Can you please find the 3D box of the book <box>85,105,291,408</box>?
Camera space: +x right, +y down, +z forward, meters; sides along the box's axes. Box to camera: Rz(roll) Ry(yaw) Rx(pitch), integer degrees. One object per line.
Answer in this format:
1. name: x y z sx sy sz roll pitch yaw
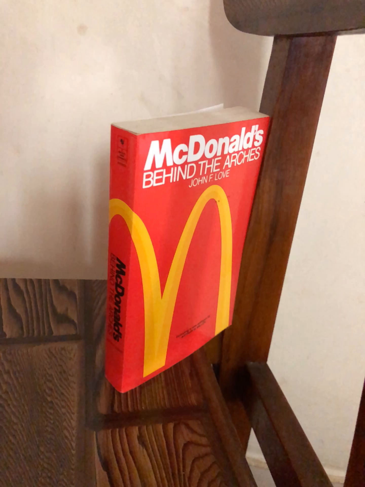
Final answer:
1. book: 0.007 0.001 0.372 0.040 0.239 0.191 27 31 35
